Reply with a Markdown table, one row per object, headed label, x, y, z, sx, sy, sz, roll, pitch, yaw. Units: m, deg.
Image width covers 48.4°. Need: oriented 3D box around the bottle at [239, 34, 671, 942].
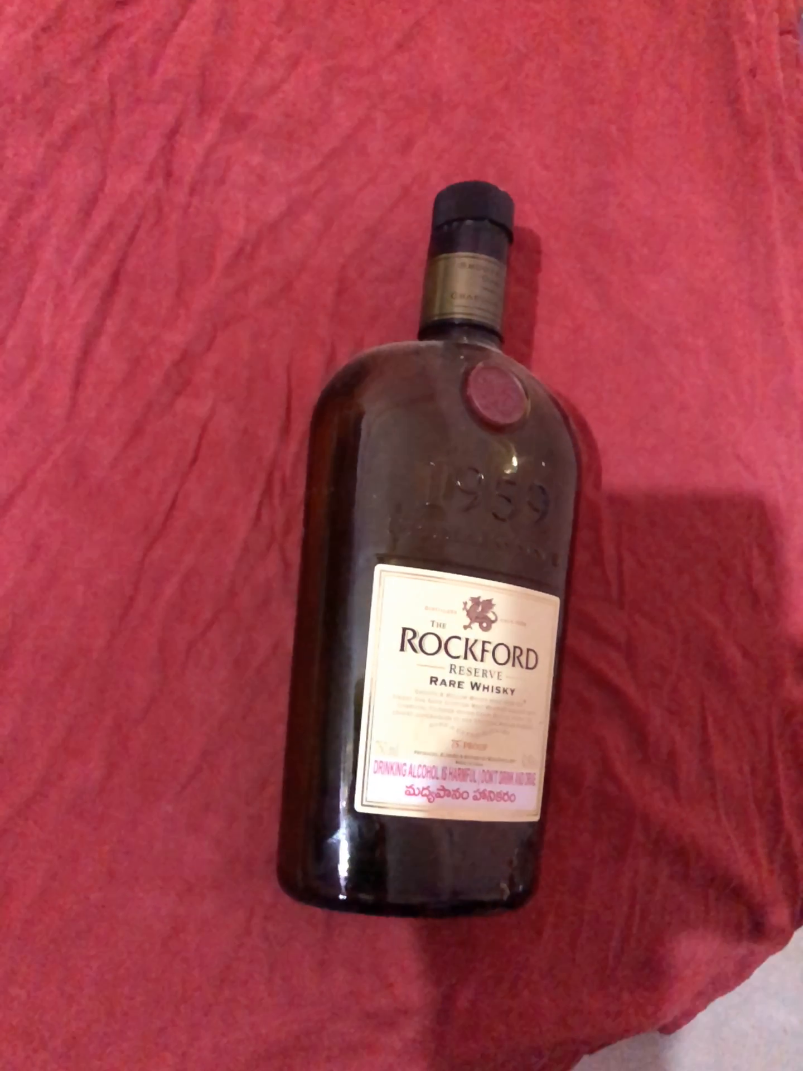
| label | x | y | z | sx | sy | sz | roll | pitch | yaw |
| --- | --- | --- | --- | --- | --- | --- | --- | --- | --- |
| bottle | 0.021 | -0.013 | 0.286 | 0.100 | 0.060 | 0.250 | 11 | 78 | -25 |
